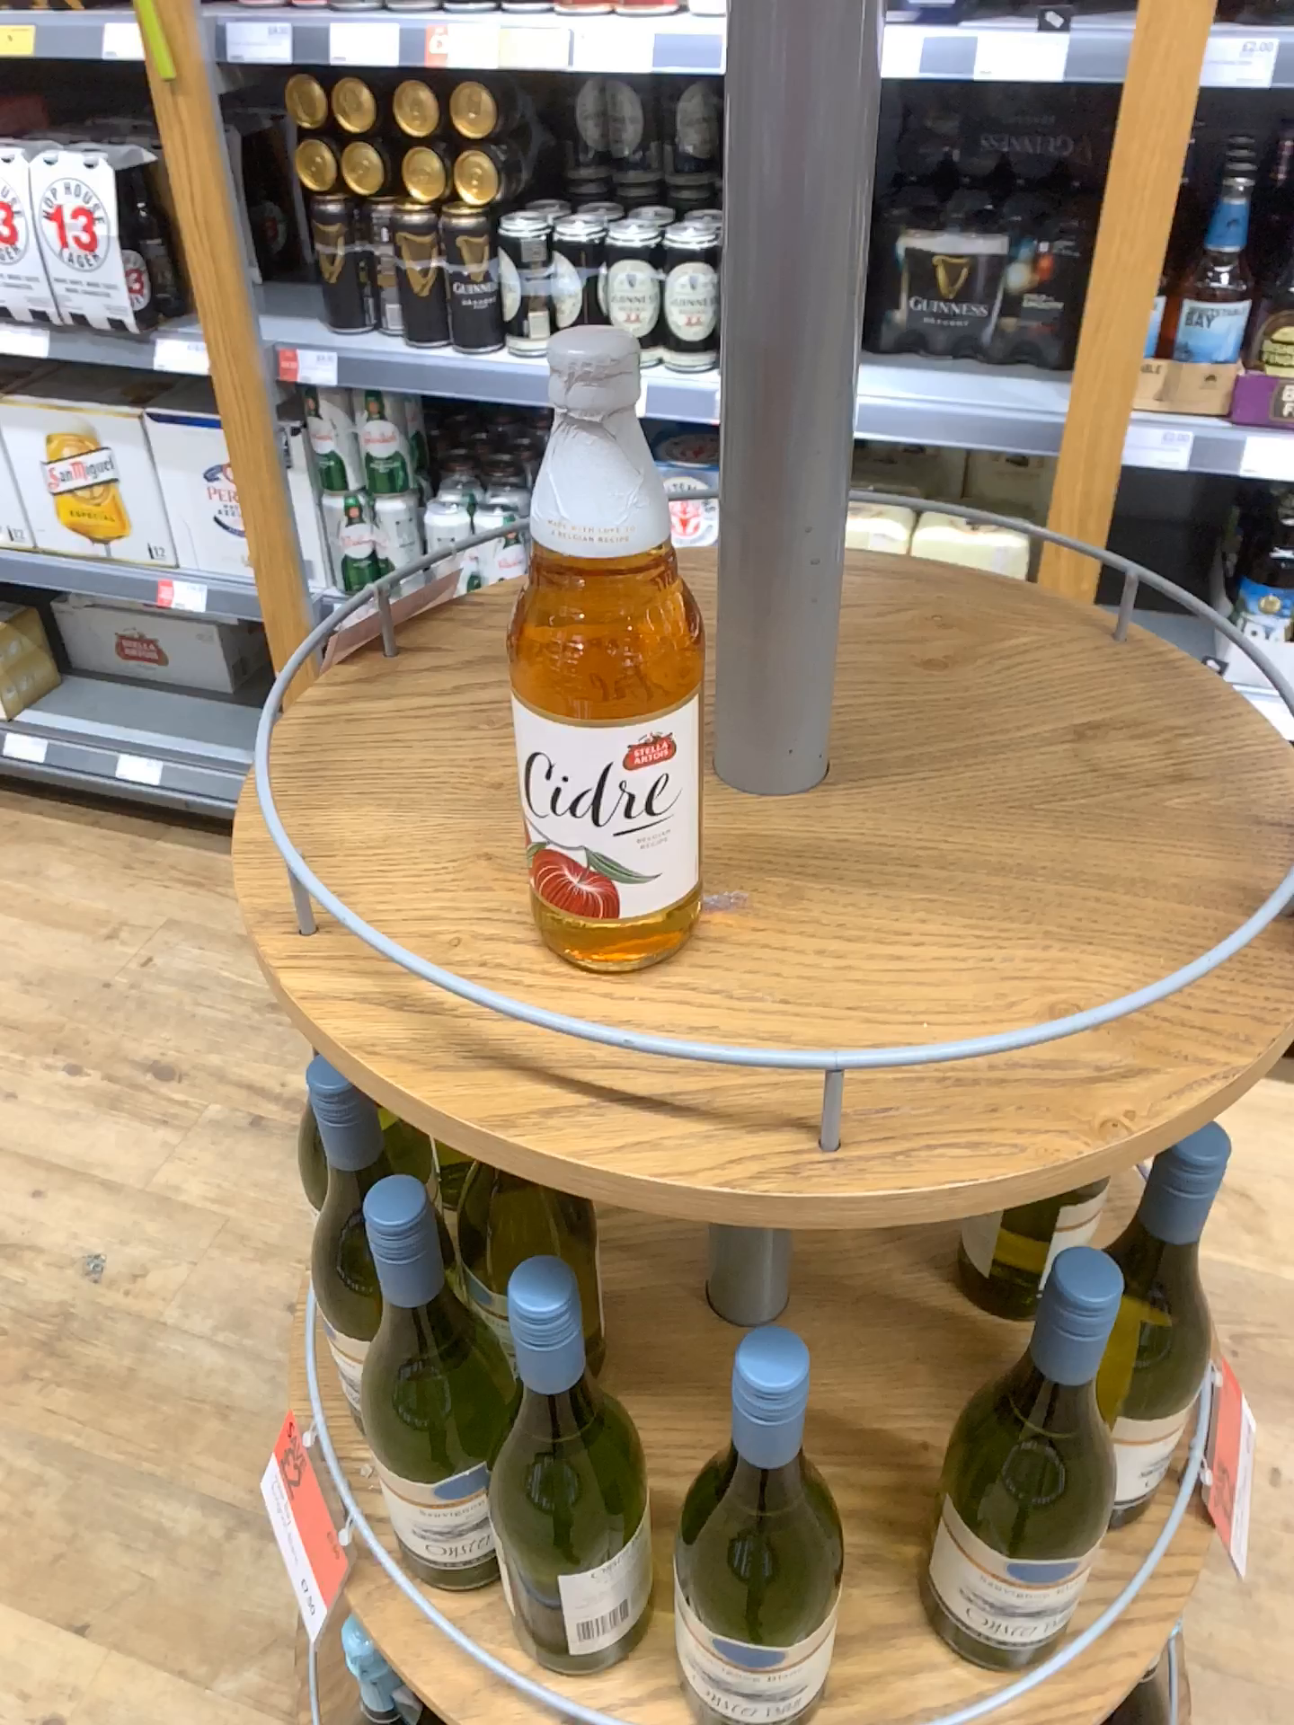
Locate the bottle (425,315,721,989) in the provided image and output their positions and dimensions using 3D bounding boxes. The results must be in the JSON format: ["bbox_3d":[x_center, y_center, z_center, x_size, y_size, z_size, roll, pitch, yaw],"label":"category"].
[{"bbox_3d":[-0.018,-0.066,0.464,0.069,0.218,0.071,-1,38,1],"label":"bottle"}]
